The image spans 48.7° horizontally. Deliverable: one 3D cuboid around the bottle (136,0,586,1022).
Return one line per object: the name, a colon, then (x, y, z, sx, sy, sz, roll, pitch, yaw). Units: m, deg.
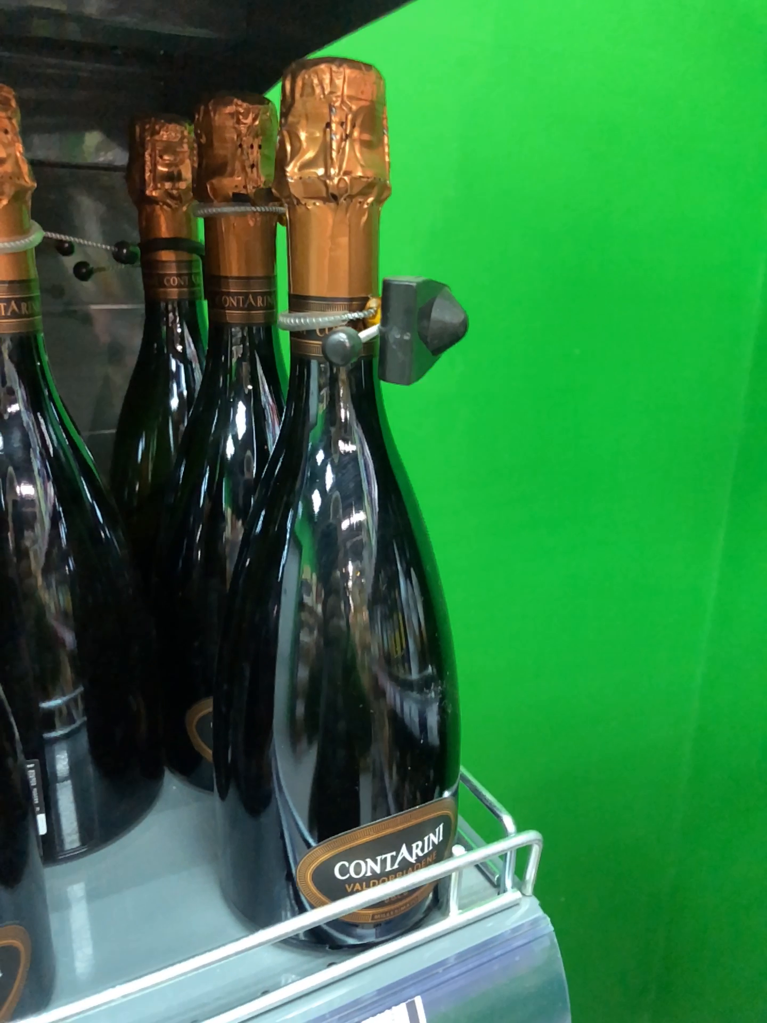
bottle: (-0.015, 0.004, 0.299, 0.100, 0.299, 0.100, 1, 17, 0)
